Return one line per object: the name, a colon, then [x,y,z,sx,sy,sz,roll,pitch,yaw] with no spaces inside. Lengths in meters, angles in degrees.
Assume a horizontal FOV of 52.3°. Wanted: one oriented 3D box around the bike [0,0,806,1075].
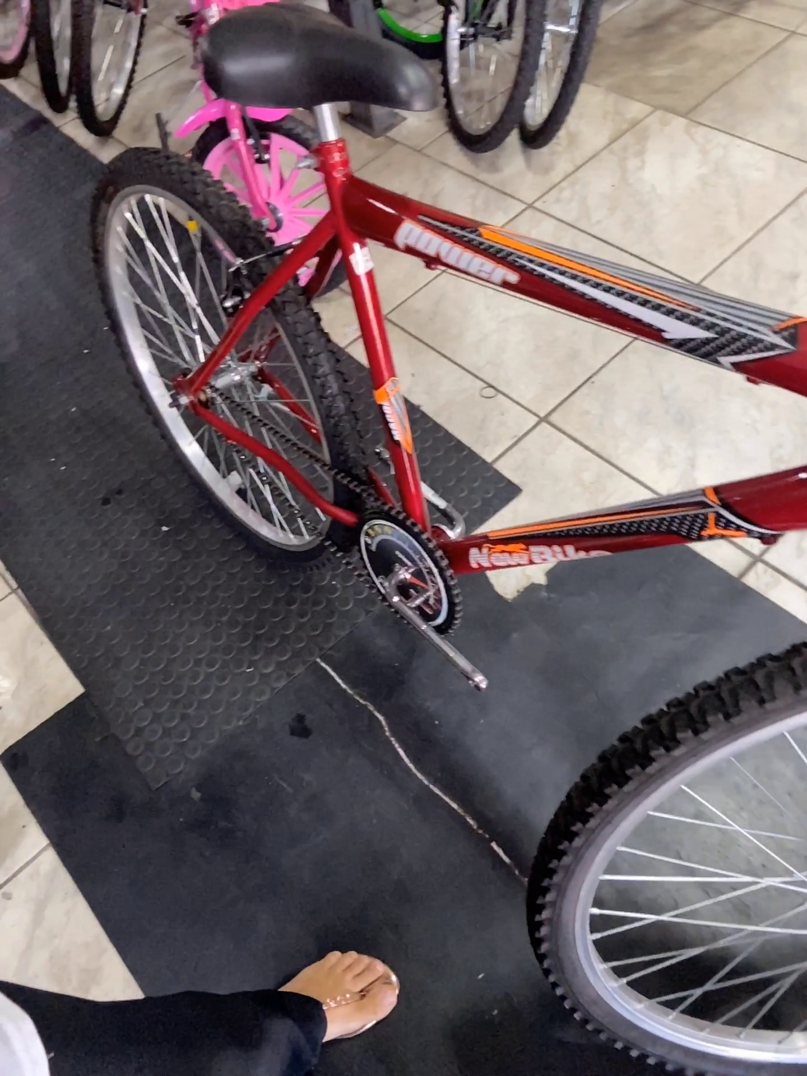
bike: [0.094,-0.247,0.859,1.585,1.030,0.567,28,66,29]
